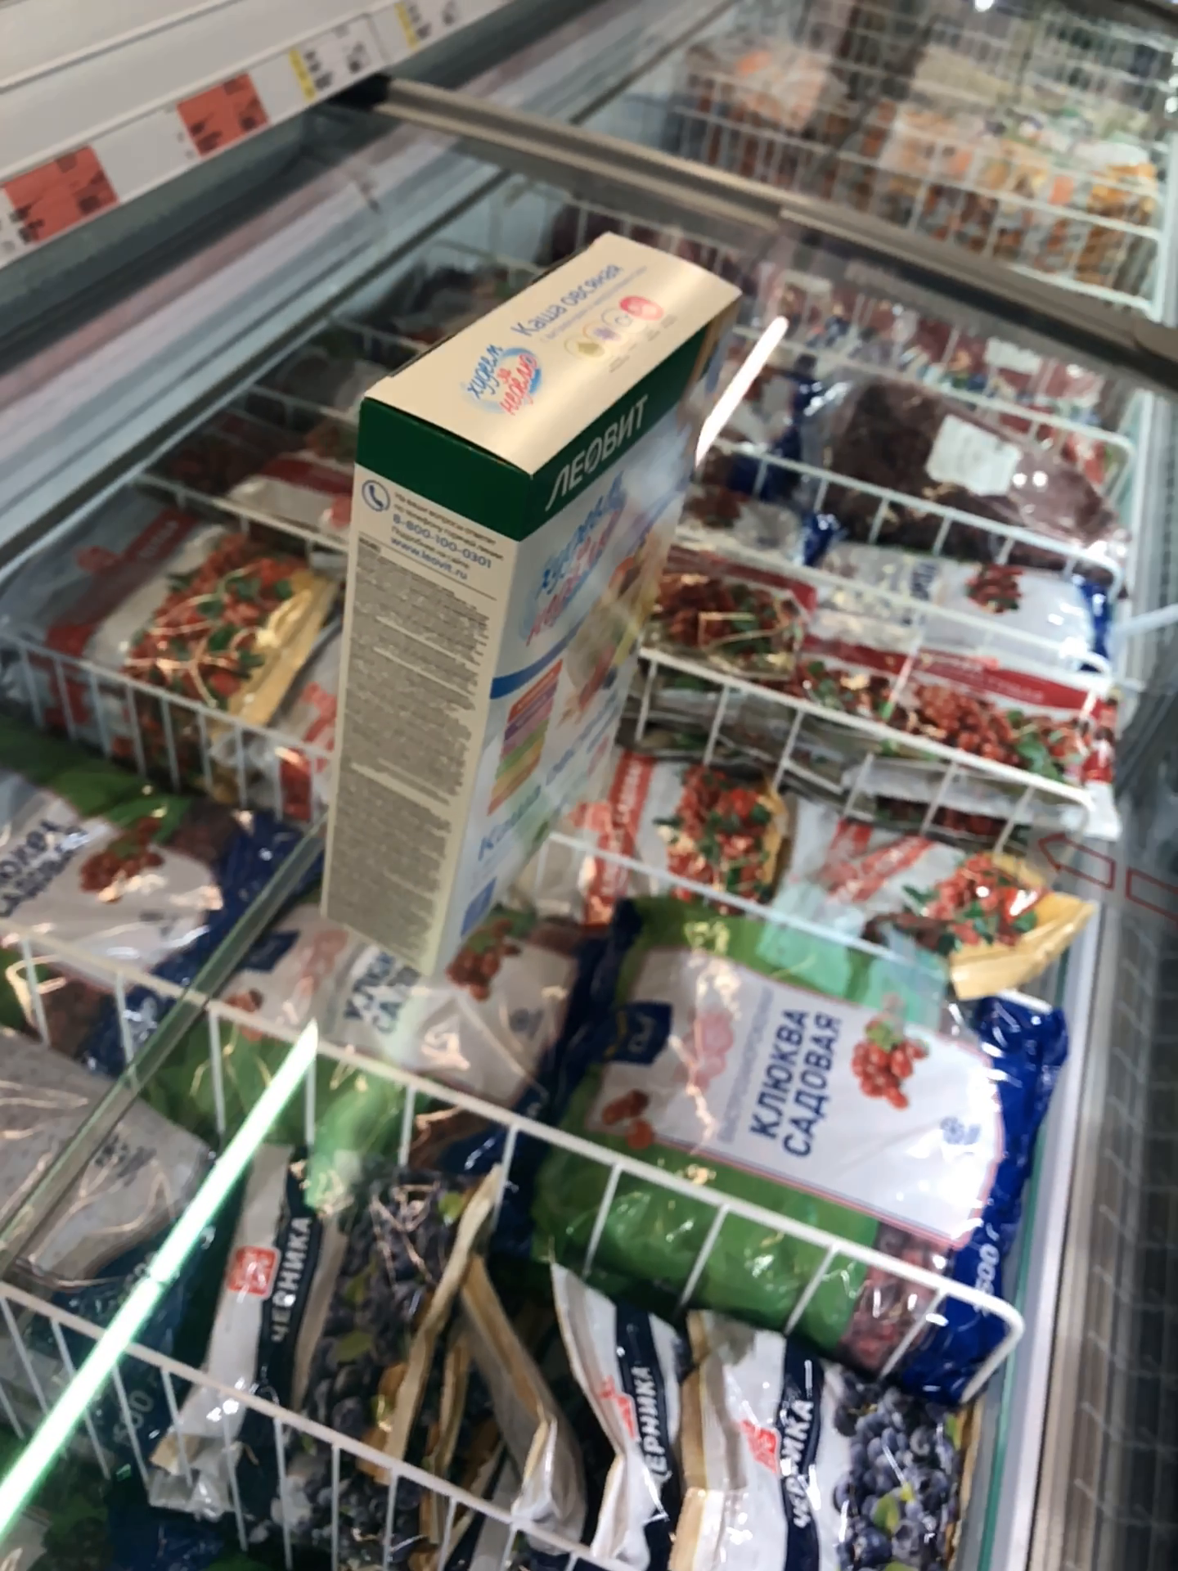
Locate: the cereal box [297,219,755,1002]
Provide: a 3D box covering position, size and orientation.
[{"bbox_3d":[-0.028,-0.055,0.462,0.060,0.228,0.151,27,46,11],"label":"cereal box"}]
